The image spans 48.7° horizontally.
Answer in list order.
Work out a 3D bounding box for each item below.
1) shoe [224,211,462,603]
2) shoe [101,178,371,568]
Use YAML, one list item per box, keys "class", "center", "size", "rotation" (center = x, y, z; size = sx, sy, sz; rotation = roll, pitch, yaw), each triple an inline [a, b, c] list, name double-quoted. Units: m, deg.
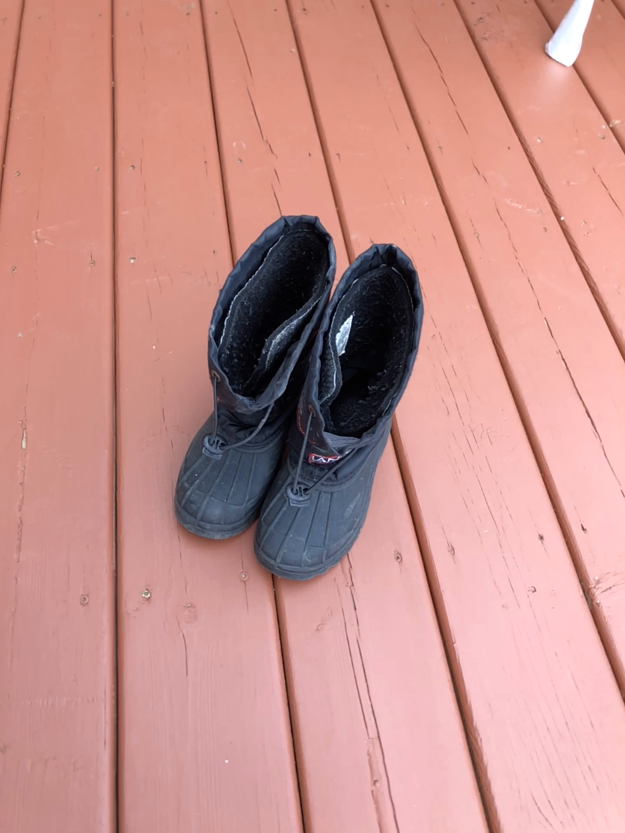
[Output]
- class: "shoe"
  center: [0.024, 0.003, 0.561]
  size: [0.100, 0.230, 0.210]
  rotation: [18, 59, 8]
- class: "shoe"
  center: [-0.049, -0.026, 0.572]
  size: [0.100, 0.230, 0.210]
  rotation: [22, 60, 10]
